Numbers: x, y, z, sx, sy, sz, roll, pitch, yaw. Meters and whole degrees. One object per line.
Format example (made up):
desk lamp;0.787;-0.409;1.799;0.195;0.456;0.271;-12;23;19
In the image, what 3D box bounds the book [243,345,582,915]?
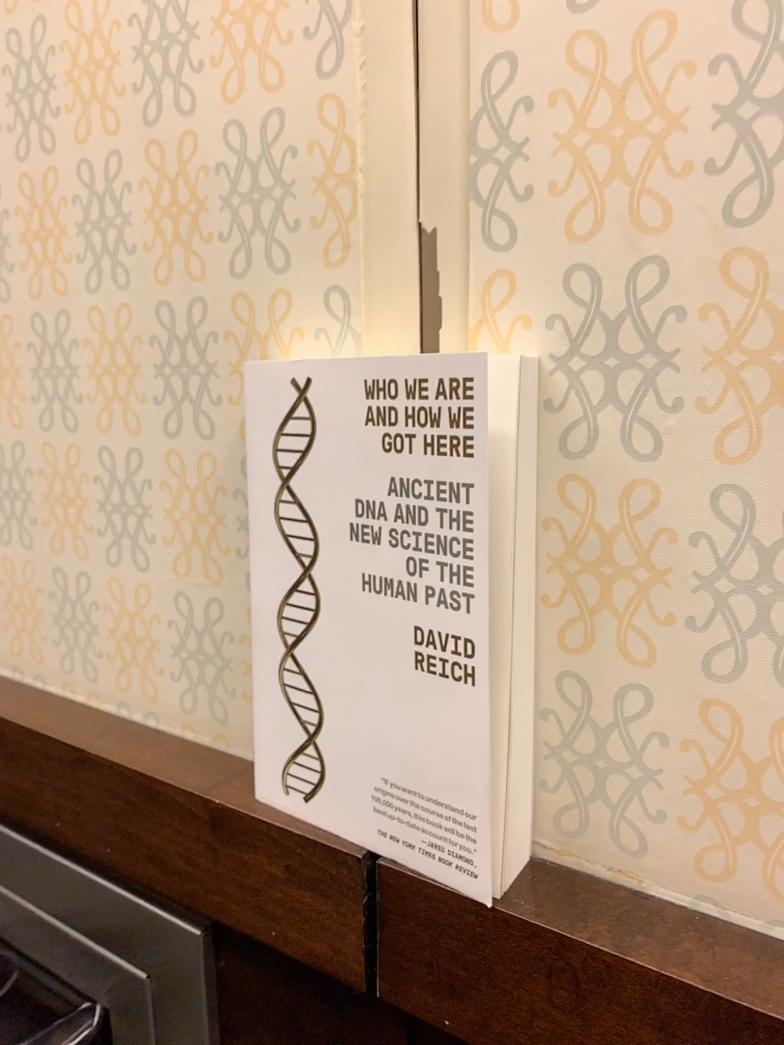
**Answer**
book;0.005;0.034;0.327;0.127;0.199;0.041;5;10;32
